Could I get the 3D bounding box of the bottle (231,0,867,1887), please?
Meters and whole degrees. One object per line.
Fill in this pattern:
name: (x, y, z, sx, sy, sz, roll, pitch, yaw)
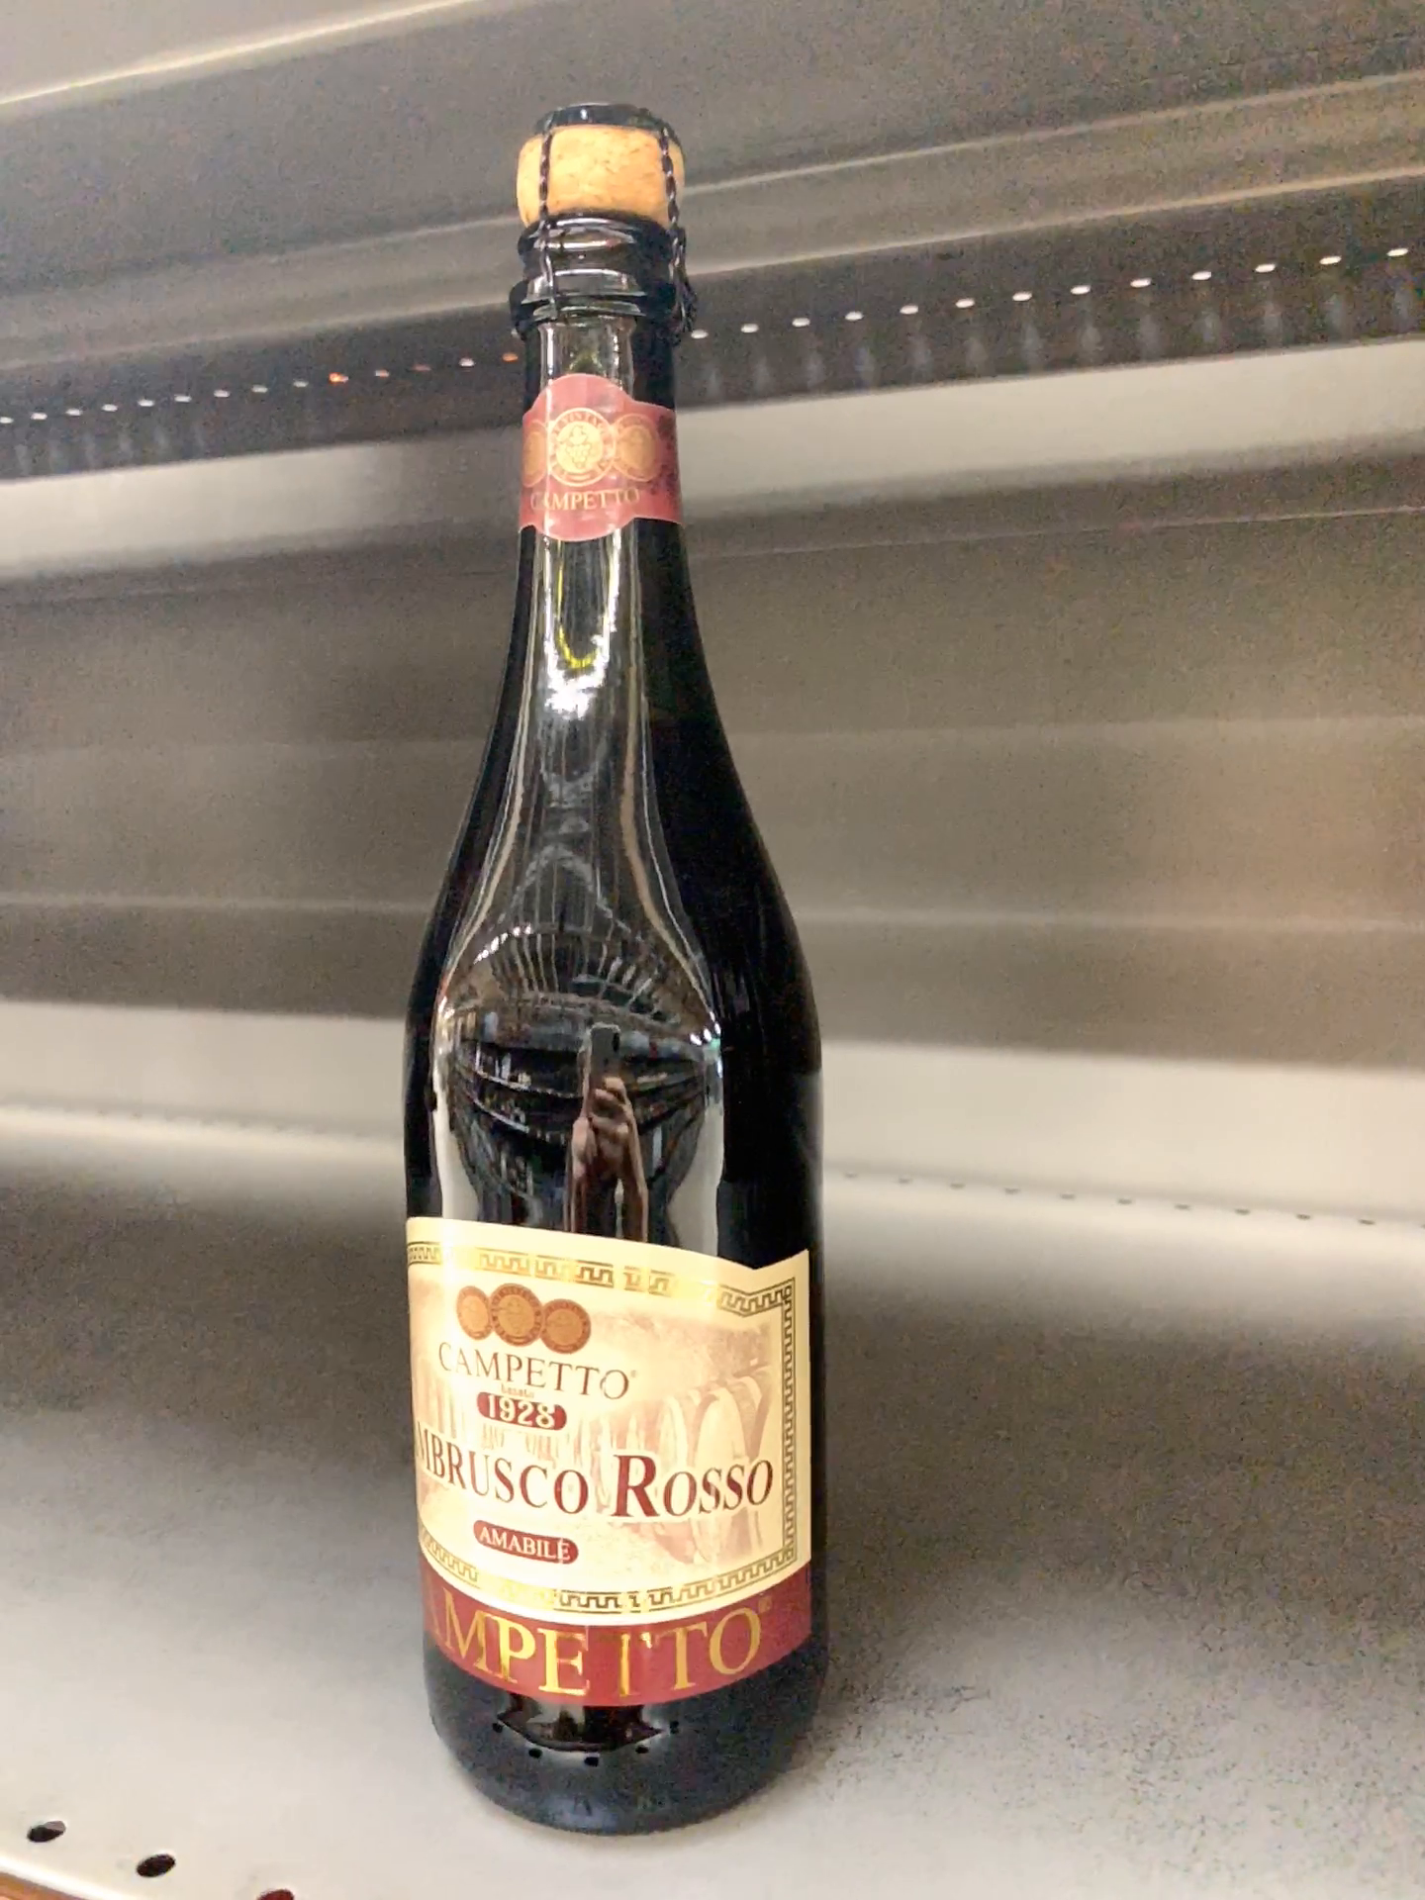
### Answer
bottle: (-0.024, 0.001, 0.283, 0.090, 0.300, 0.080, 2, 6, 18)
